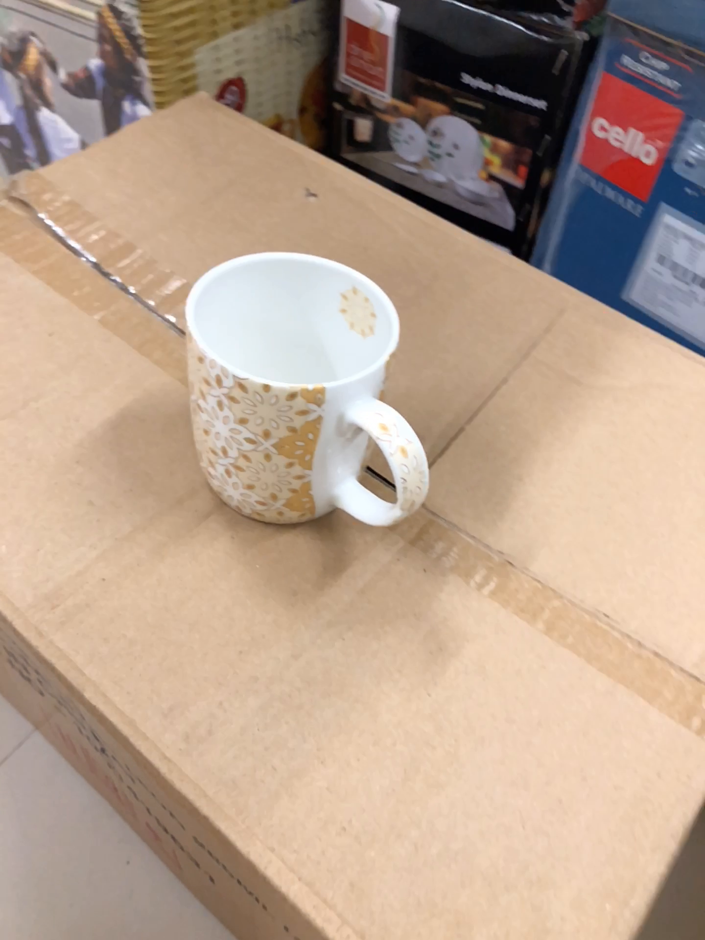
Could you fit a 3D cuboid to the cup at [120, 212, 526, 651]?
[{"bbox_3d":[-0.017,-0.018,0.300,0.080,0.089,0.120,-31,61,-29],"label":"cup"}]
